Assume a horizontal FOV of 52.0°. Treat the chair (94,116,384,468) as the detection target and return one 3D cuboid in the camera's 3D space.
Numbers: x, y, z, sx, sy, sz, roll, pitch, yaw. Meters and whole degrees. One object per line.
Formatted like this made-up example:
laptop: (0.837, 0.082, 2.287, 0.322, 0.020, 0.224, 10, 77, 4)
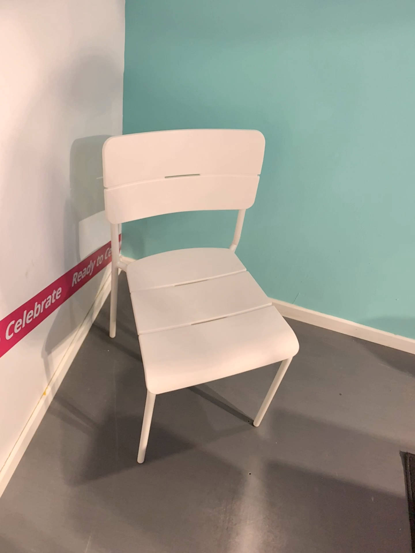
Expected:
chair: (-0.025, 0.077, 1.114, 0.430, 0.807, 0.451, -9, 51, -20)
